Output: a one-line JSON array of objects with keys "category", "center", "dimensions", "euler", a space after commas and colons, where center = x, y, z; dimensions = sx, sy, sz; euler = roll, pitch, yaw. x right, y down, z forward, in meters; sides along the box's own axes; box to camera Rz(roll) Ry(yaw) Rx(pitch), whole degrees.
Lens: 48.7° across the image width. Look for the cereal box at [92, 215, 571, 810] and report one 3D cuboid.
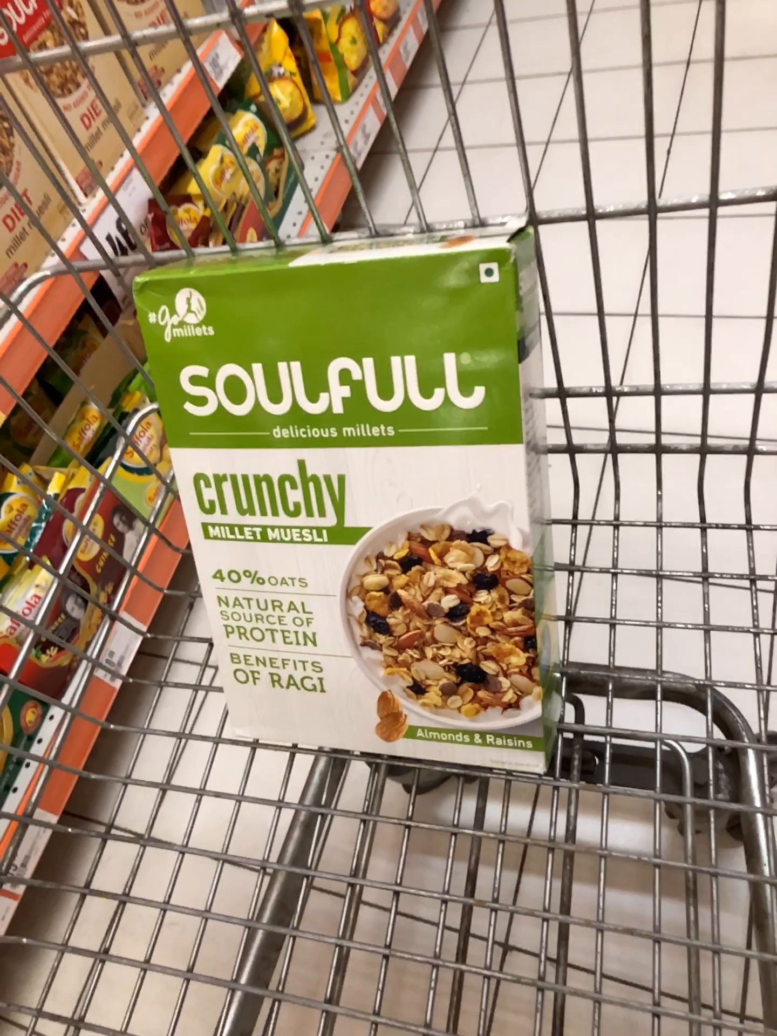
[{"category": "cereal box", "center": [-0.013, 0.001, 0.387], "dimensions": [0.170, 0.239, 0.070], "euler": [1, 23, 20]}]
